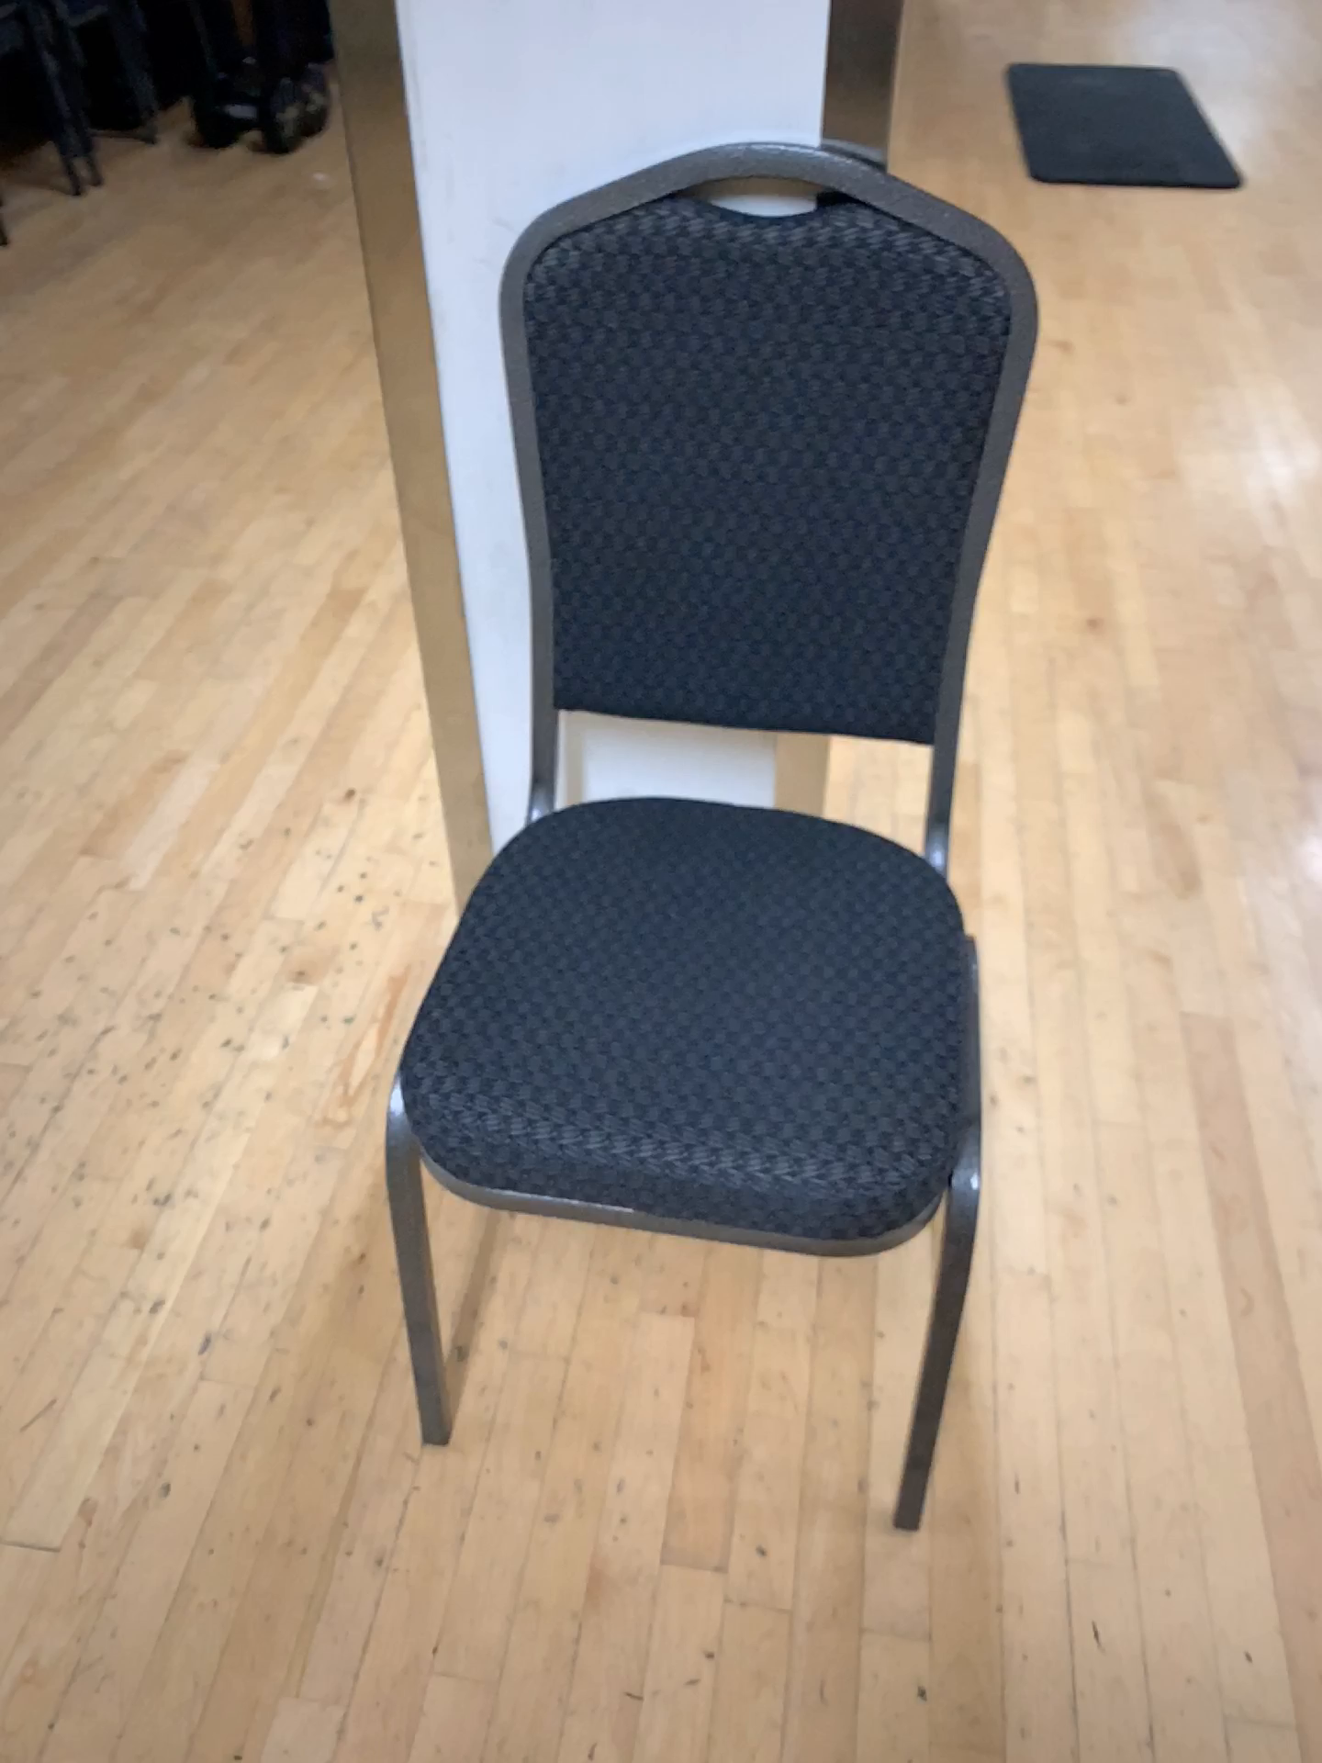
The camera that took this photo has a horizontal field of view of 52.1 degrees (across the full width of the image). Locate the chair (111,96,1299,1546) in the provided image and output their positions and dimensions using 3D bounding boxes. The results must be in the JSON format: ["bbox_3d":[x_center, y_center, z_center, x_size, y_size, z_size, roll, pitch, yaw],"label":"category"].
[{"bbox_3d":[0.054,-0.007,1.036,0.464,0.908,0.567,7,43,7],"label":"chair"}]
